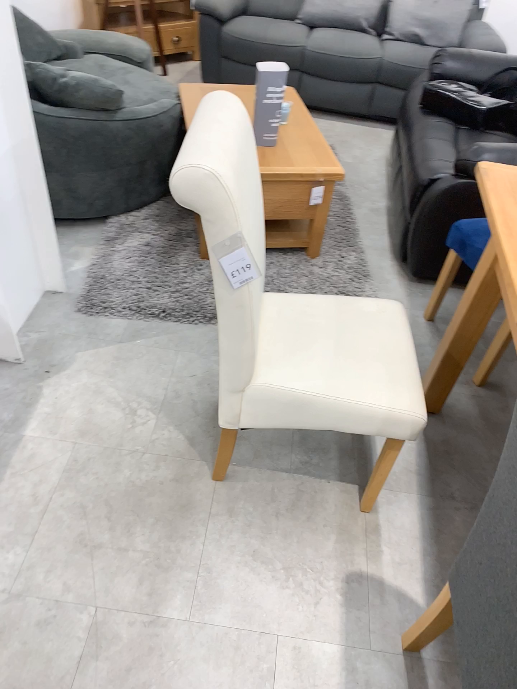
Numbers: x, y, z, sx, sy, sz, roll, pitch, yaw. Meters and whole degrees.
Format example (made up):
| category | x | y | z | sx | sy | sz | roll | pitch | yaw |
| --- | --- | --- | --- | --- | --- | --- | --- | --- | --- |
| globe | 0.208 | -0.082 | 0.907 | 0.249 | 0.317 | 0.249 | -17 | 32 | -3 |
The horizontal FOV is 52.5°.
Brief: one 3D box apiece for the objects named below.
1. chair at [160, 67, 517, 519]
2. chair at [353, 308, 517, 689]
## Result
| category | x | y | z | sx | sy | sz | roll | pitch | yaw |
| --- | --- | --- | --- | --- | --- | --- | --- | --- | --- |
| chair | 0.121 | -0.067 | 1.301 | 0.591 | 0.935 | 0.518 | 7 | 44 | -1 |
| chair | 0.540 | 0.486 | 0.852 | 0.581 | 0.906 | 0.488 | 9 | 44 | 2 |
